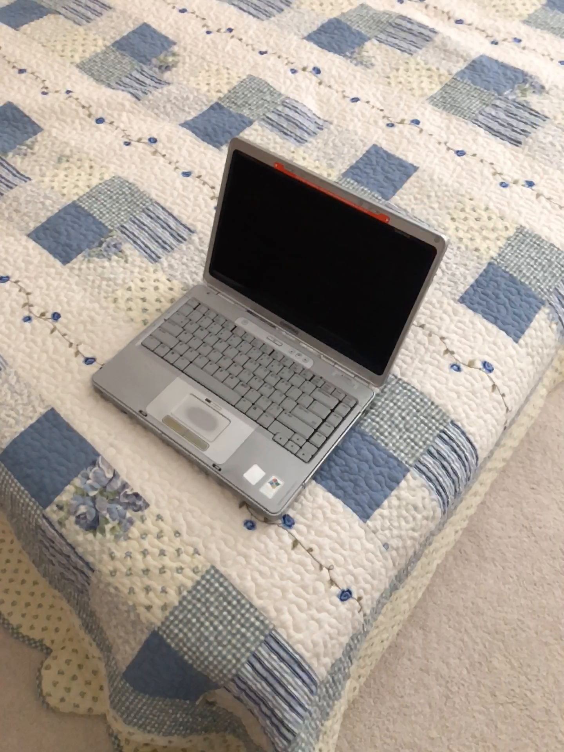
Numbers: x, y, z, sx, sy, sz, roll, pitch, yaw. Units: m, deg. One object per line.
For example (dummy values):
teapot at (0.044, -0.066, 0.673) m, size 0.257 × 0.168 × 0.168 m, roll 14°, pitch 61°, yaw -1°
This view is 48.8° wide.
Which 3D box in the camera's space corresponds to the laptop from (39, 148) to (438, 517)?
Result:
laptop at (-0.041, -0.070, 0.793) m, size 0.323 × 0.193 × 0.327 m, roll 32°, pitch 62°, yaw 20°
